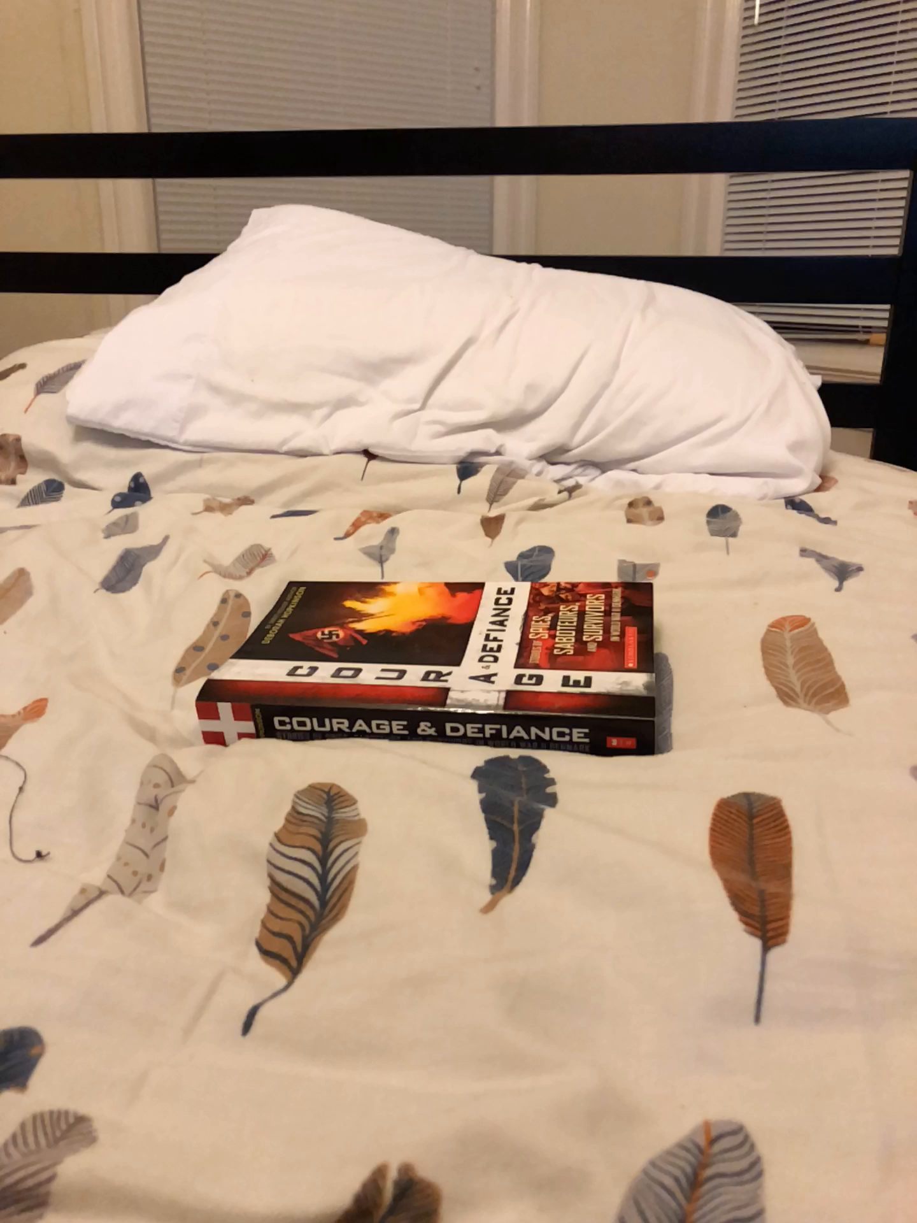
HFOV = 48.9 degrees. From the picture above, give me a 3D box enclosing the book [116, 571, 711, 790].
[{"bbox_3d":[-0.010,0.022,0.484,0.230,0.020,0.201,2,19,6],"label":"book"}]
